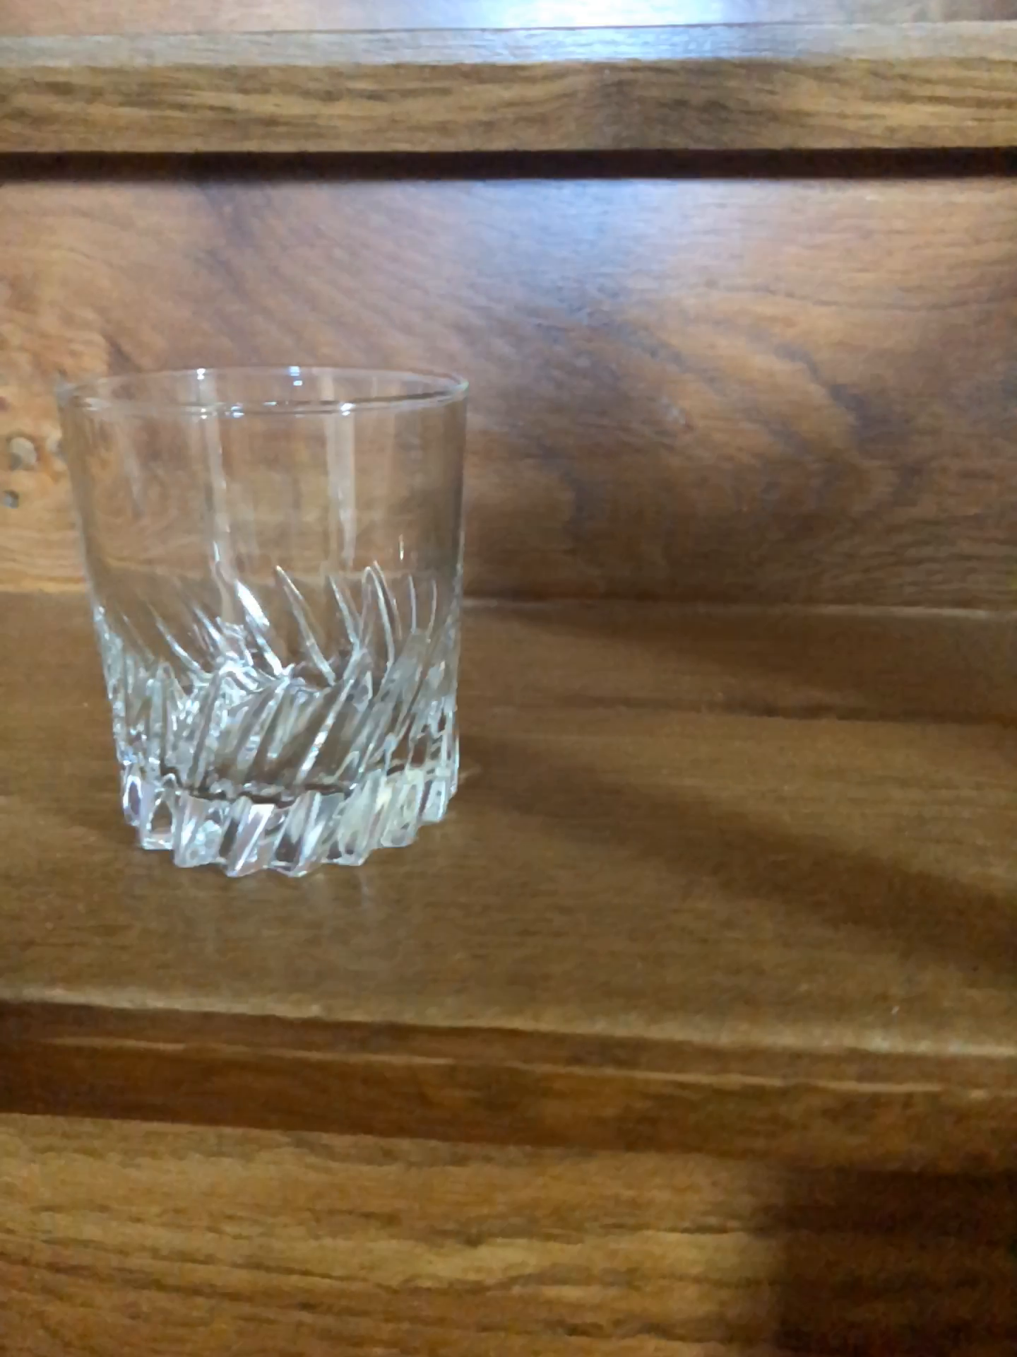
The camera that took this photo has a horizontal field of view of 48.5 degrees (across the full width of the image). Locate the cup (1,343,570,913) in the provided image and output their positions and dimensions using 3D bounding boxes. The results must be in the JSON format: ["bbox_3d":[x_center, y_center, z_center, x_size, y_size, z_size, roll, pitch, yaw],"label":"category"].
[{"bbox_3d":[-0.049,-0.022,0.239,0.090,0.090,0.090,0,18,0],"label":"cup"}]
